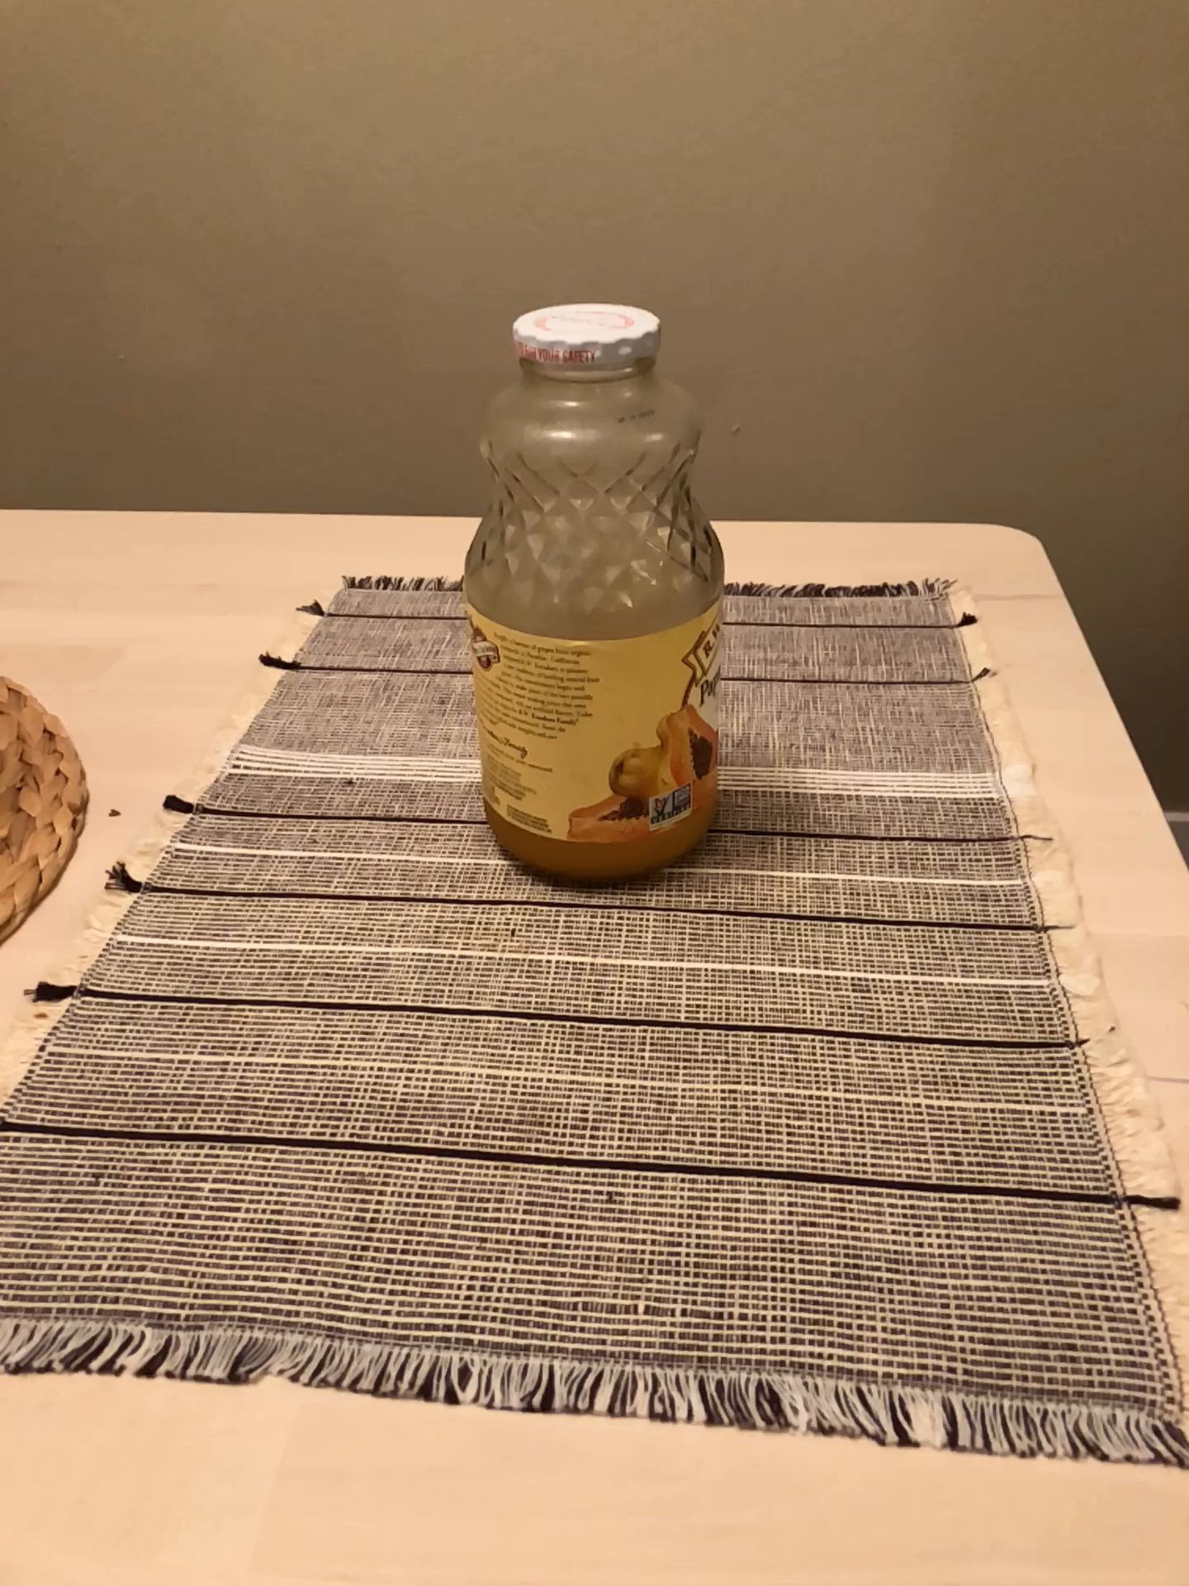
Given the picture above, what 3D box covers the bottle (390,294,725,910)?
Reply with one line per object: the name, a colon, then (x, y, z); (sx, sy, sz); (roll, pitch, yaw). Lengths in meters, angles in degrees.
bottle: (-0.004, -0.069, 0.483); (0.100, 0.199, 0.101); (-2, 31, 1)
